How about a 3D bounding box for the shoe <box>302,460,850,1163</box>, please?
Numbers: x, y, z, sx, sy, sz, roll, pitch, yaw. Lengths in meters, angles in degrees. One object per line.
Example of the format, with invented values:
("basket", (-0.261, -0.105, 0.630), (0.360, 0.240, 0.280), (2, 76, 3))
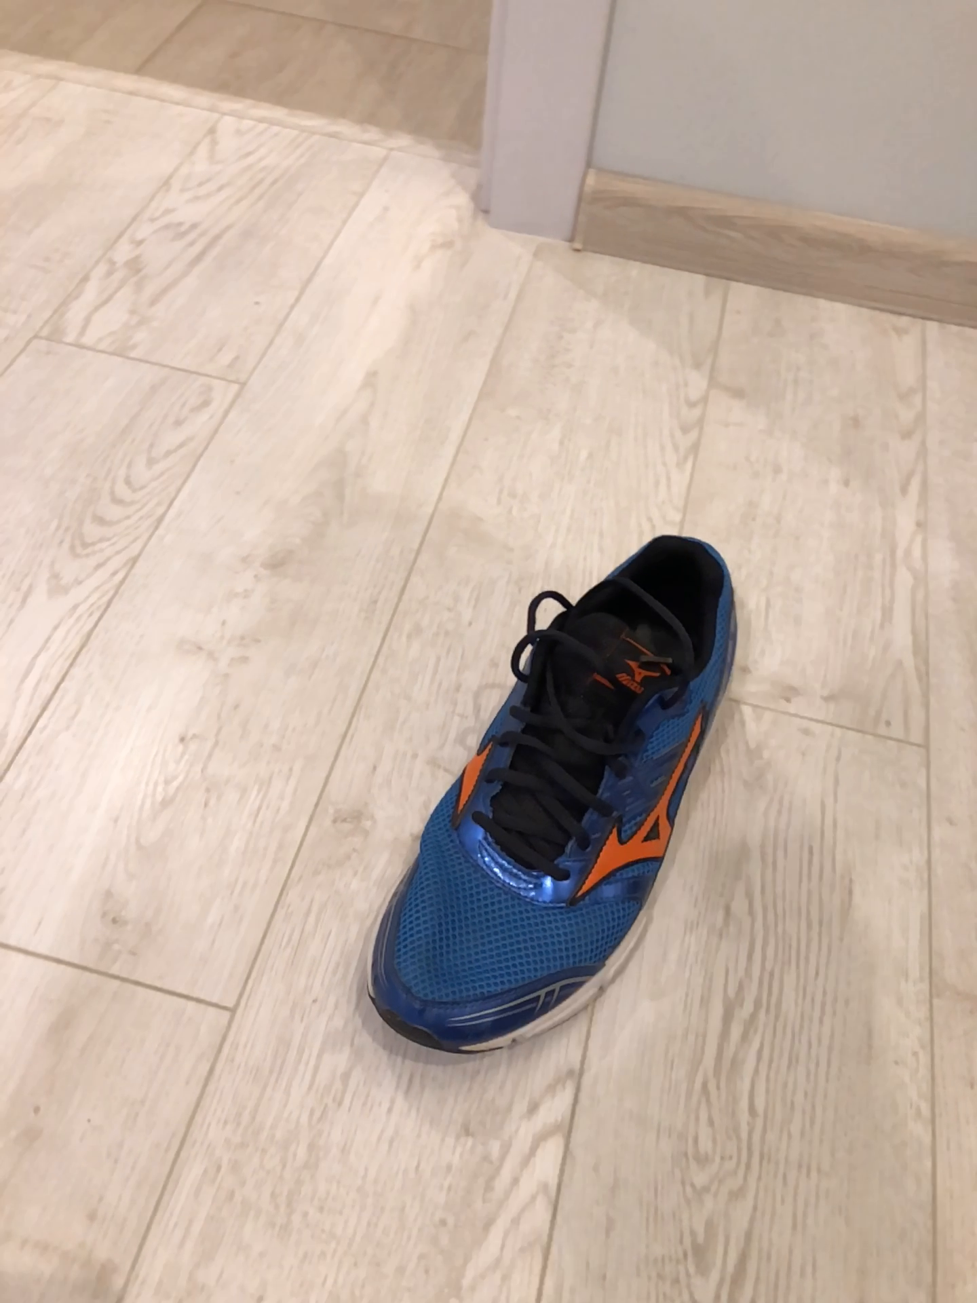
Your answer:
("shoe", (0.052, 0.060, 0.517), (0.116, 0.119, 0.302), (27, 55, 15))
